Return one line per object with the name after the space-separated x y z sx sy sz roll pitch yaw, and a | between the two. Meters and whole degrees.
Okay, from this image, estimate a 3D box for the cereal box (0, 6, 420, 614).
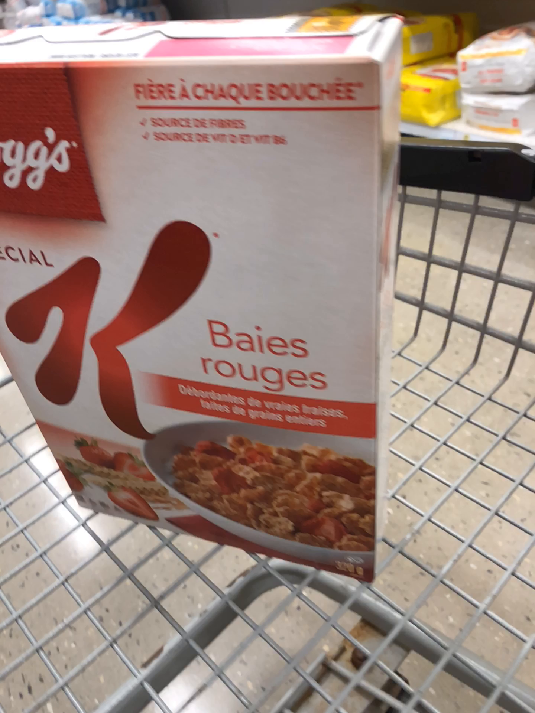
-0.047 -0.002 0.282 0.210 0.269 0.050 9 40 20 | cereal box
